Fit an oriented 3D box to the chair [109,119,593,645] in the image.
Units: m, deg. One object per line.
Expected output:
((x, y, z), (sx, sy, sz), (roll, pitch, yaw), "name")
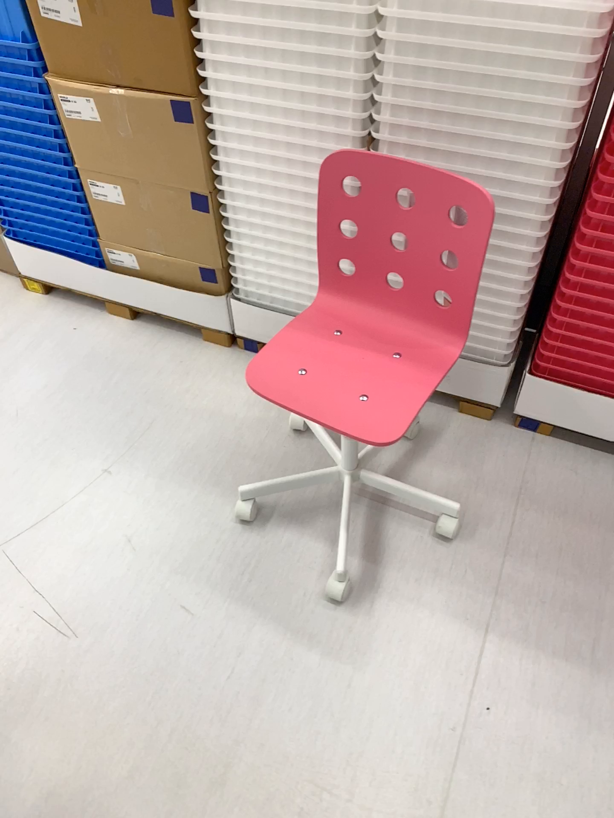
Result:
((0.109, -0.050, 1.243), (0.551, 0.707, 0.581), (22, 54, 21), "chair")
